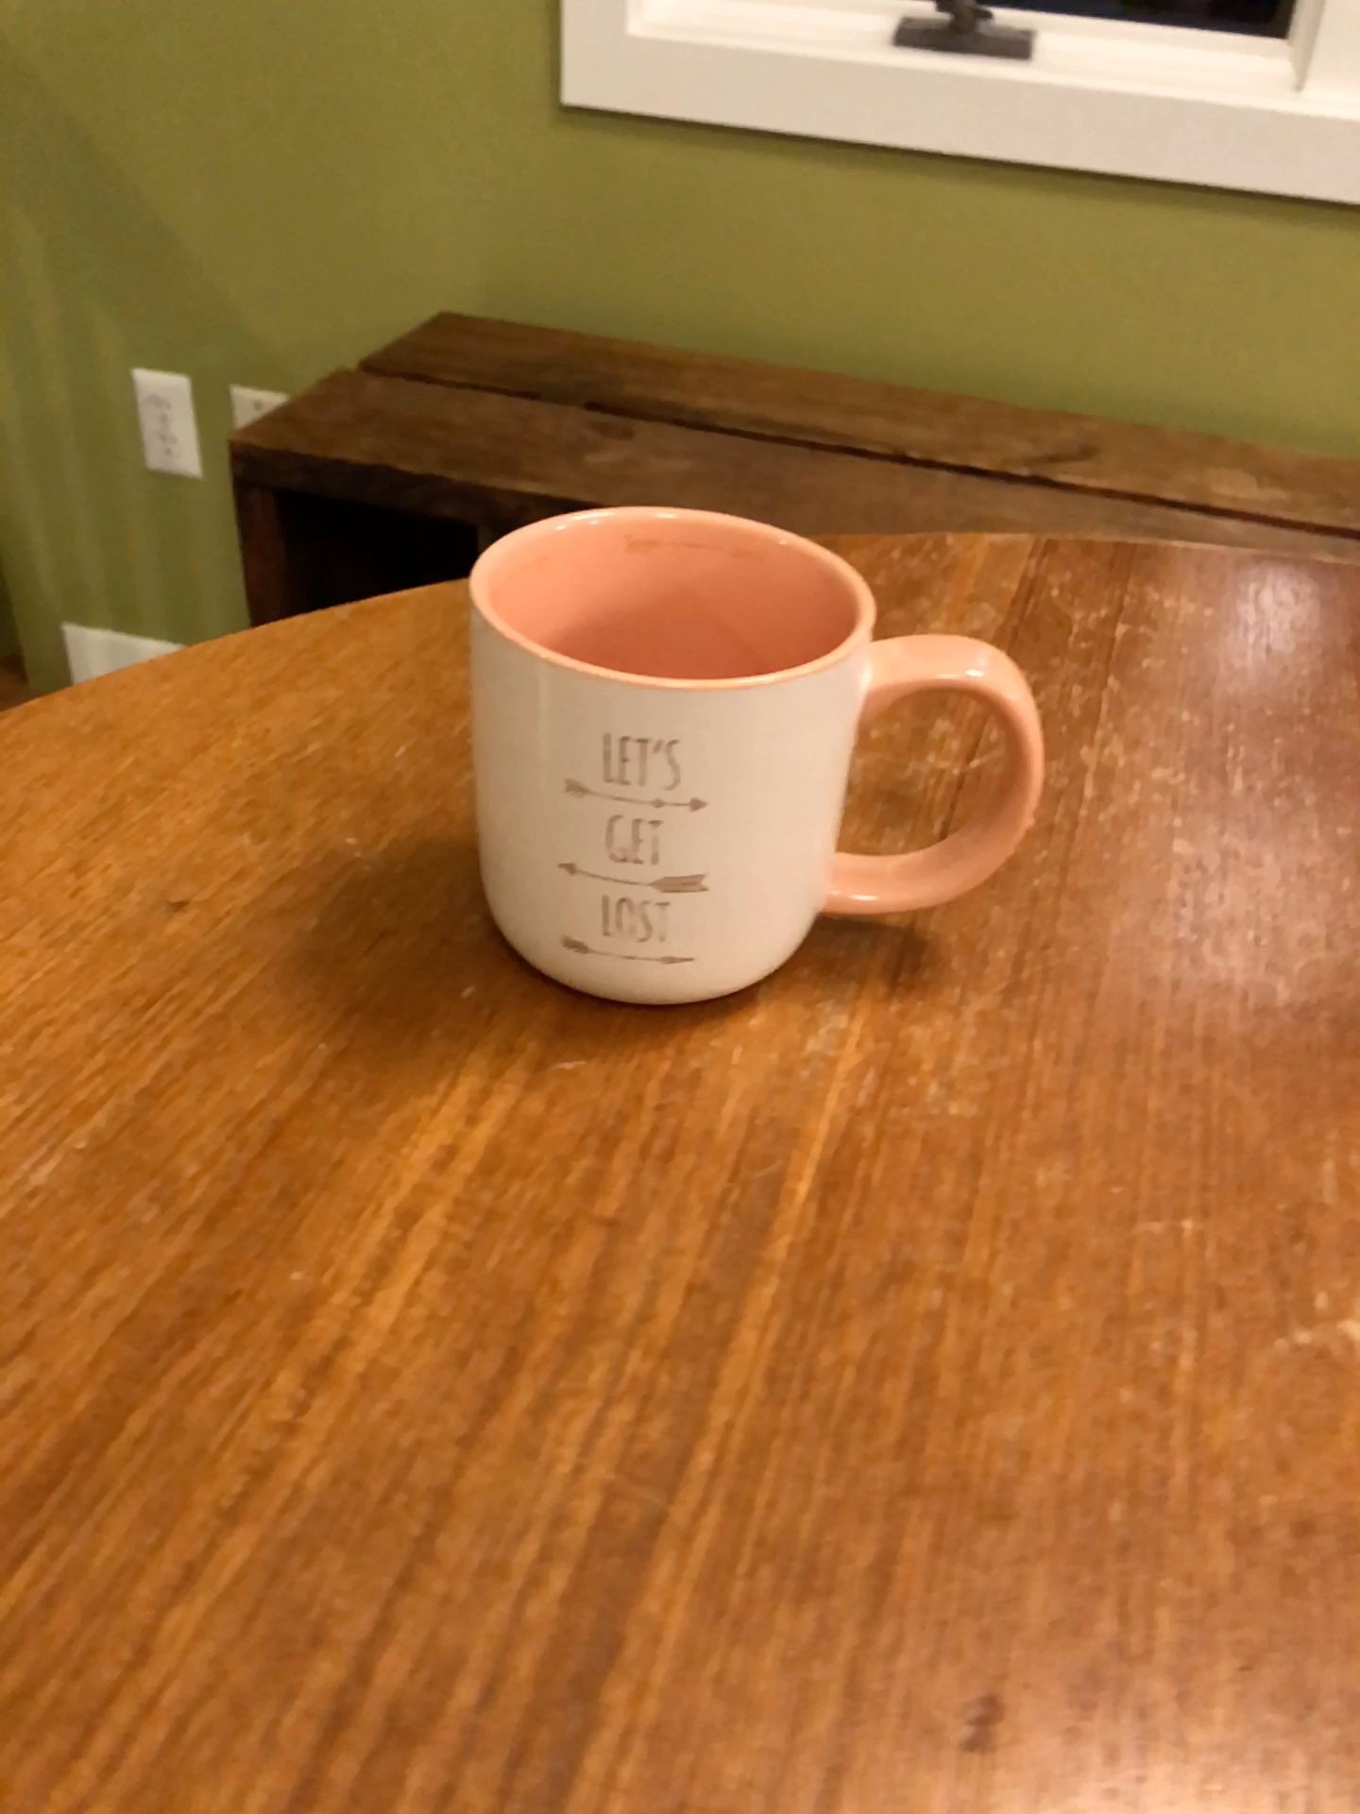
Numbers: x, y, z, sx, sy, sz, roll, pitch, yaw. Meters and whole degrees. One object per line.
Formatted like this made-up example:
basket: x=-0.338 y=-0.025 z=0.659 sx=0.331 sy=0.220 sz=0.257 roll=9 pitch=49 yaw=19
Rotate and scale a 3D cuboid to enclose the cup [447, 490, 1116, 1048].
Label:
cup: x=0.019 y=-0.036 z=0.391 sx=0.144 sy=0.106 sz=0.094 roll=2 pitch=36 yaw=-3
